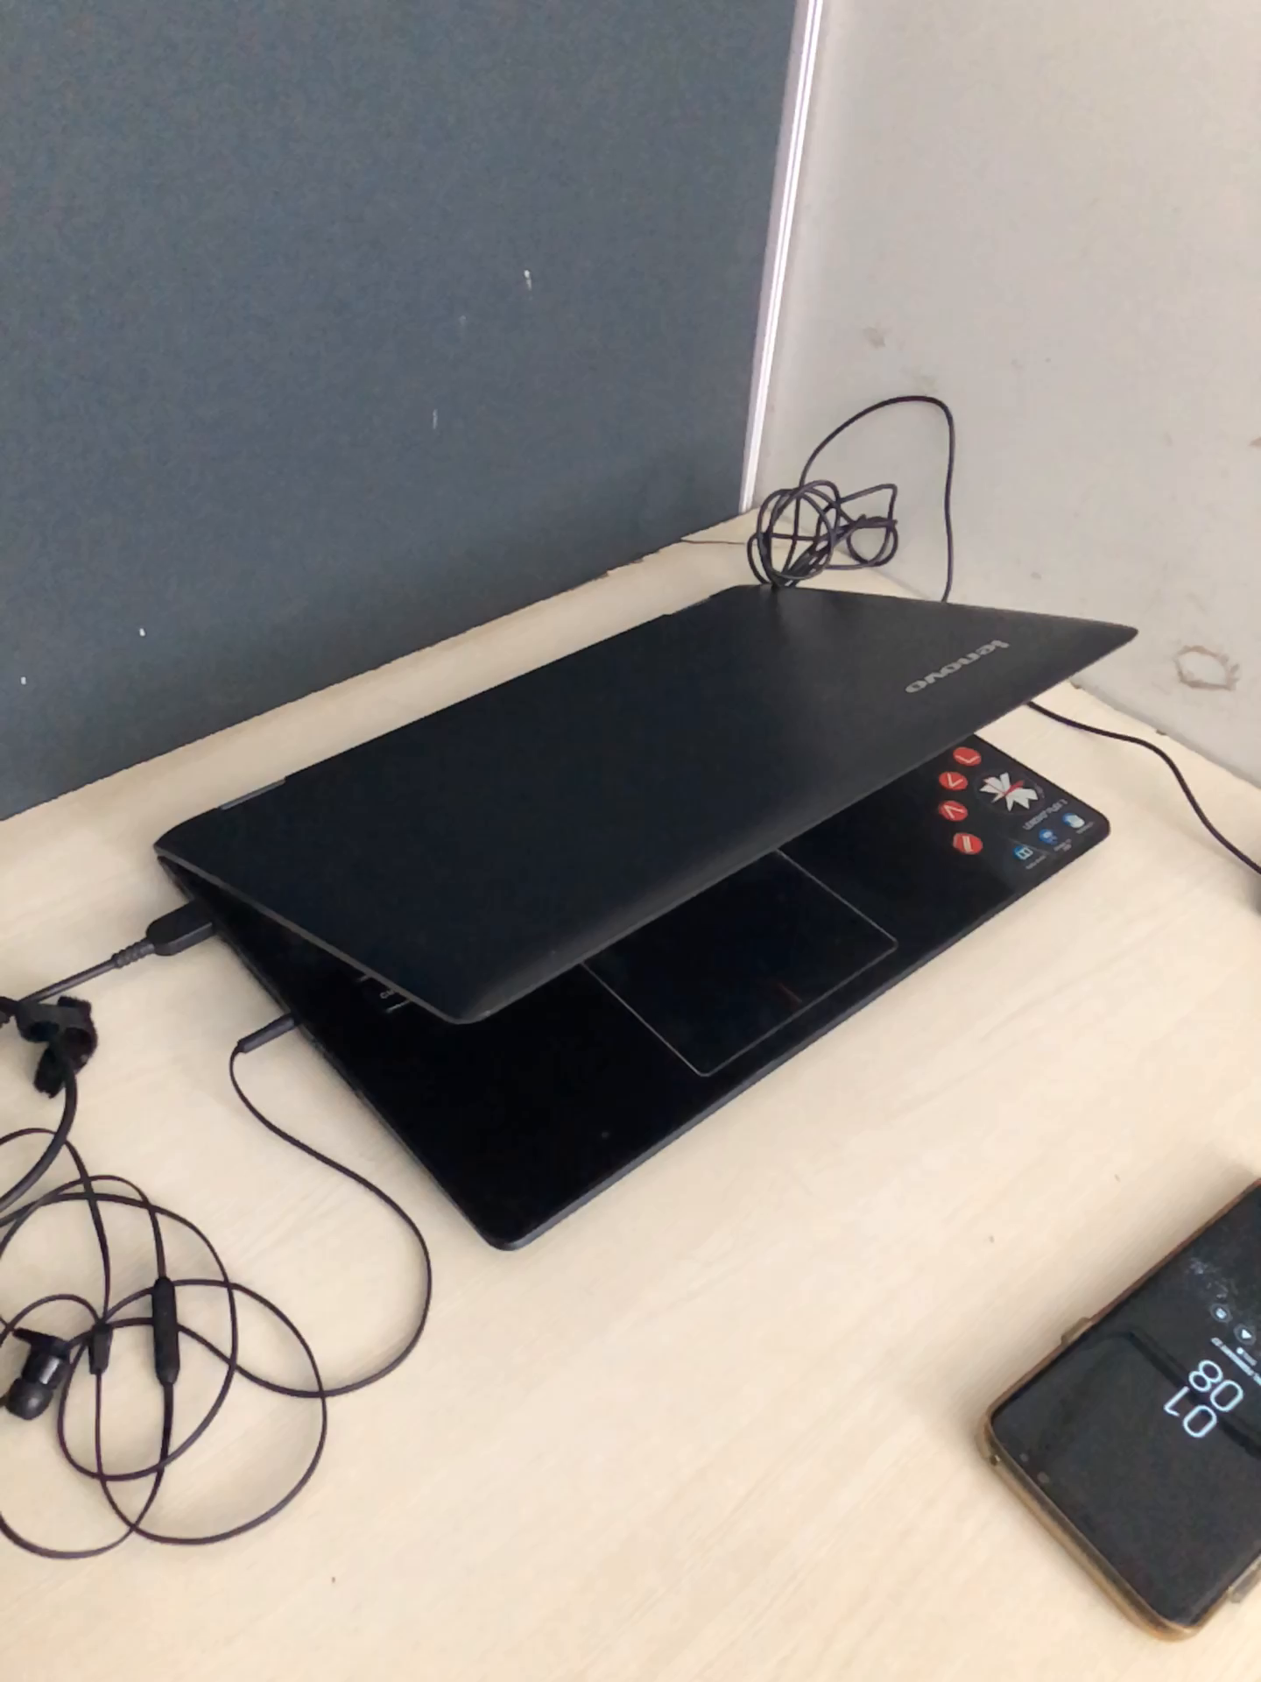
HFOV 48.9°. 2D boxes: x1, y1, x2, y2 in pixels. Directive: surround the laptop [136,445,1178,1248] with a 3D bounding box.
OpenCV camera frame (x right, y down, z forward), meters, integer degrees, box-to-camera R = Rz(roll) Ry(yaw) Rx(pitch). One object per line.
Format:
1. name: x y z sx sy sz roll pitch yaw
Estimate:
1. laptop: 0.016 -0.032 0.541 0.327 0.082 0.220 -28 51 -31
